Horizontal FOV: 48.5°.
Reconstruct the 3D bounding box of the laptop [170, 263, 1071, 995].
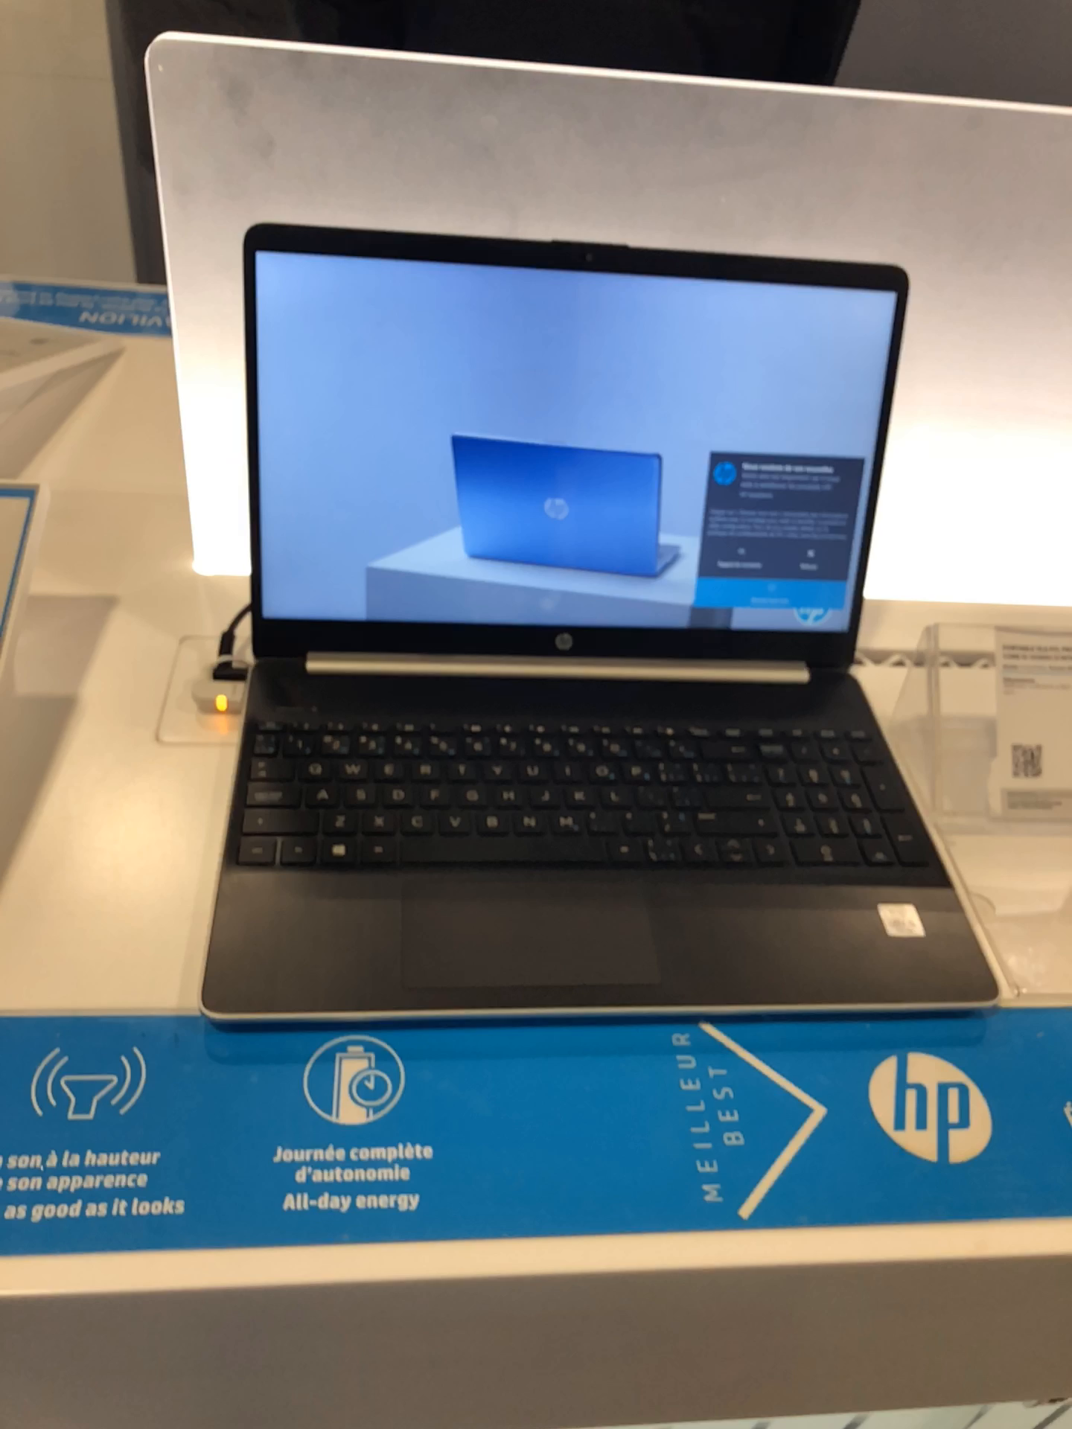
[{"bbox_3d":[0.036,-0.054,0.568,0.336,0.206,0.317,2,38,-6],"label":"laptop"}]
